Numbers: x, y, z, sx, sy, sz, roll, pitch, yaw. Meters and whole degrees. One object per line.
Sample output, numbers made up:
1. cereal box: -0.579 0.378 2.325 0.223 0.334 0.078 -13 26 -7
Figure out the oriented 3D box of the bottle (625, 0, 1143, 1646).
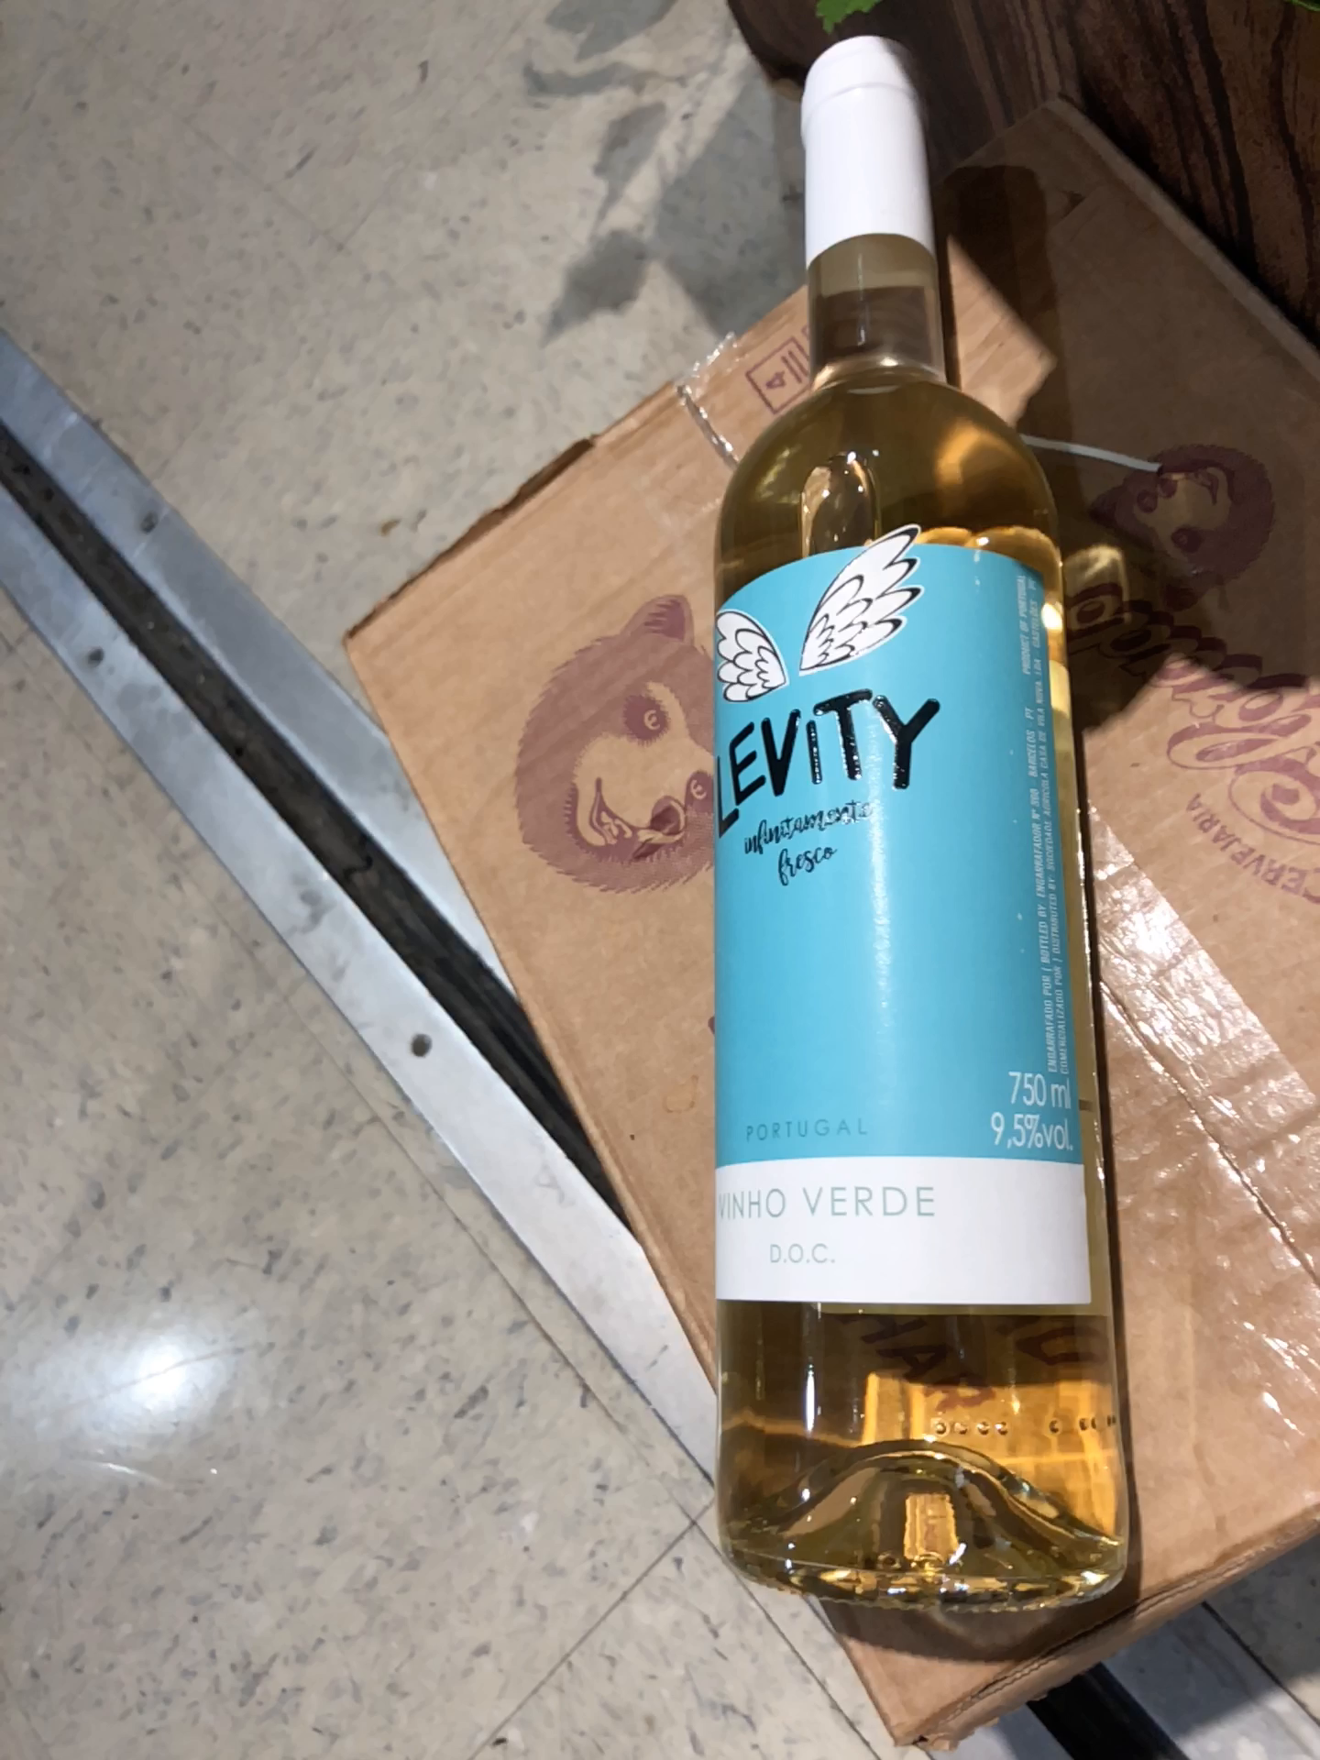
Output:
1. bottle: 0.040 -0.042 0.298 0.080 0.050 0.340 -6 75 23
